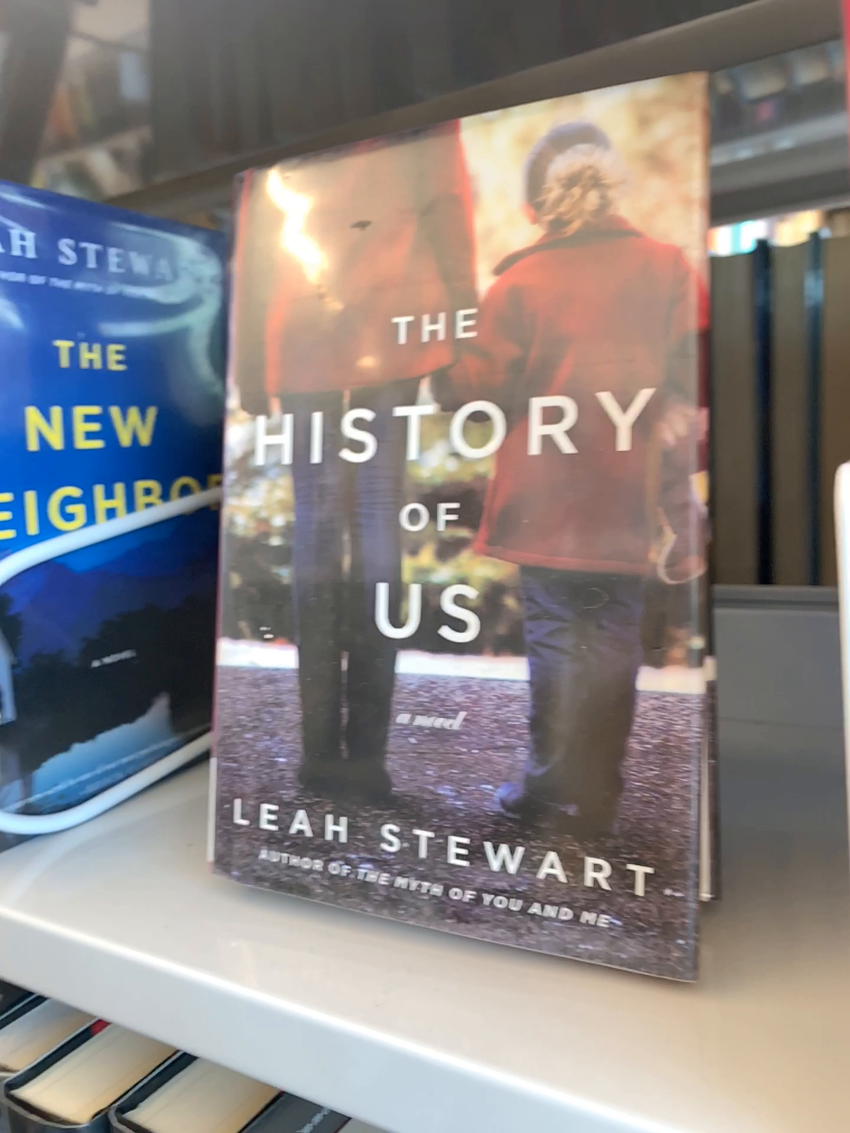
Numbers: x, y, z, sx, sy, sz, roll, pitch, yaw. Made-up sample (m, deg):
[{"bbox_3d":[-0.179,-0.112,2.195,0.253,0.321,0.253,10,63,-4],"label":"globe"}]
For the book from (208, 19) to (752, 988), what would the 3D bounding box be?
[{"bbox_3d":[0.009,-0.015,0.257,0.153,0.220,0.040,-1,-2,30],"label":"book"}]
